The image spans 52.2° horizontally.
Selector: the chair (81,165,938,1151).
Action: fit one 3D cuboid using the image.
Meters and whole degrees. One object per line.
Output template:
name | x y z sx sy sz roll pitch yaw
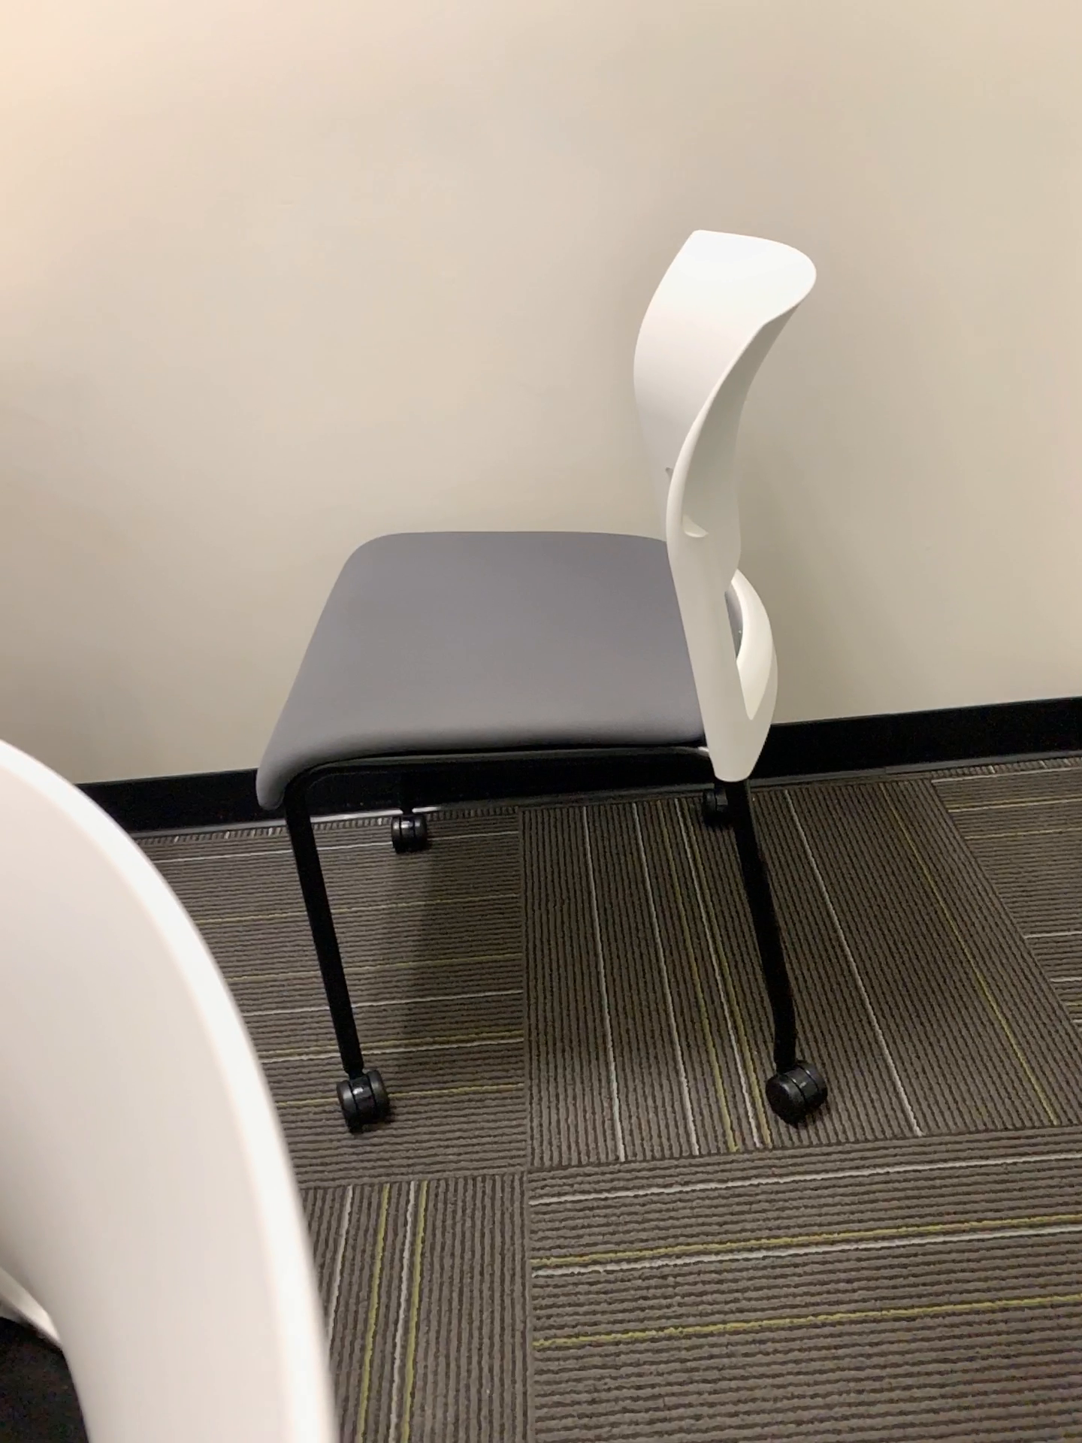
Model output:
chair | 0.003 -0.087 1.158 0.540 0.805 0.604 -4 31 2
